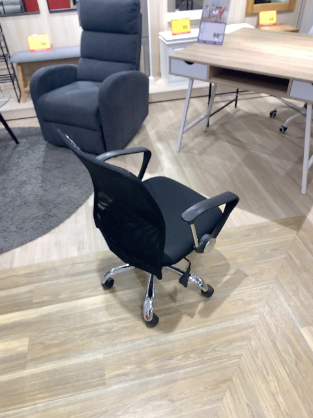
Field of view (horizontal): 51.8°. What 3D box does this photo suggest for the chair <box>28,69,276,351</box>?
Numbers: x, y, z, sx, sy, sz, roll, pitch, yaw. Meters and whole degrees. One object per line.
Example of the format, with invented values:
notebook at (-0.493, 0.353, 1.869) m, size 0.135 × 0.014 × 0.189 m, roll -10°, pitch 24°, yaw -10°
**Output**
chair at (-0.013, -0.021, 1.411) m, size 0.602 × 0.865 × 0.642 m, roll -32°, pitch 48°, yaw -31°
